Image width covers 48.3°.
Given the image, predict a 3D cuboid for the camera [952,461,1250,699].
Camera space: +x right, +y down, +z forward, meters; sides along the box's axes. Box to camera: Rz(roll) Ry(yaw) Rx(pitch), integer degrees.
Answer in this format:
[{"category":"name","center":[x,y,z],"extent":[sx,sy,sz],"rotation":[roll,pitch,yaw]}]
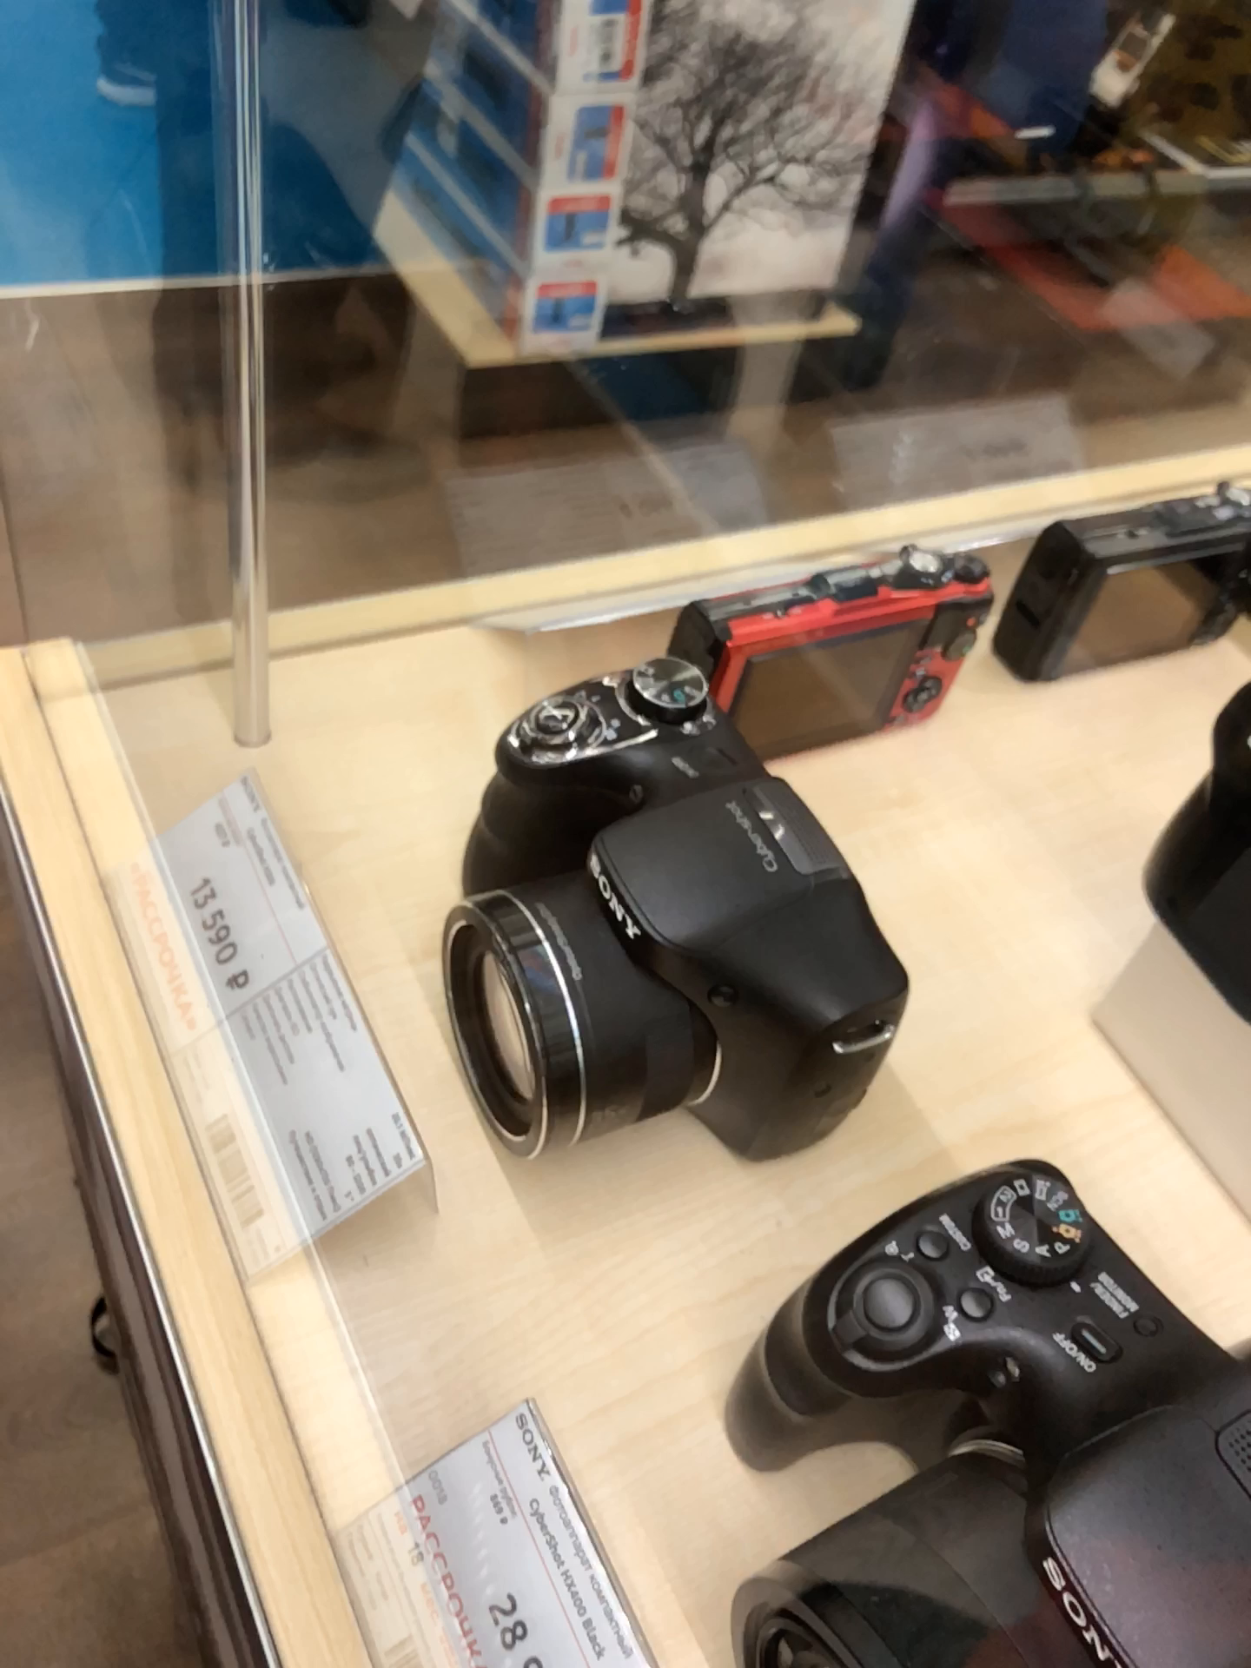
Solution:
[{"category":"camera","center":[0.181,-0.092,0.504],"extent":[0.111,0.069,0.026],"rotation":[-13,52,-24]}]

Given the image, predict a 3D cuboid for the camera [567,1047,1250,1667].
[{"category":"camera","center":[0.077,0.136,0.273],"extent":[0.125,0.097,0.124],"rotation":[-13,52,-24]}]

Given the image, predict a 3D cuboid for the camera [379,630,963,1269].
[{"category":"camera","center":[0.002,0.024,0.359],"extent":[0.092,0.078,0.124],"rotation":[-13,52,-24]}]

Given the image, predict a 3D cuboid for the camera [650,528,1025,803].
[{"category":"camera","center":[0.068,-0.056,0.456],"extent":[0.111,0.069,0.026],"rotation":[-16,53,-26]}]

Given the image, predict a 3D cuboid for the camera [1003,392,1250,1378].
[{"category":"camera","center":[0.205,-0.001,0.316],"extent":[0.132,0.106,0.168],"rotation":[-15,53,-25]}]
